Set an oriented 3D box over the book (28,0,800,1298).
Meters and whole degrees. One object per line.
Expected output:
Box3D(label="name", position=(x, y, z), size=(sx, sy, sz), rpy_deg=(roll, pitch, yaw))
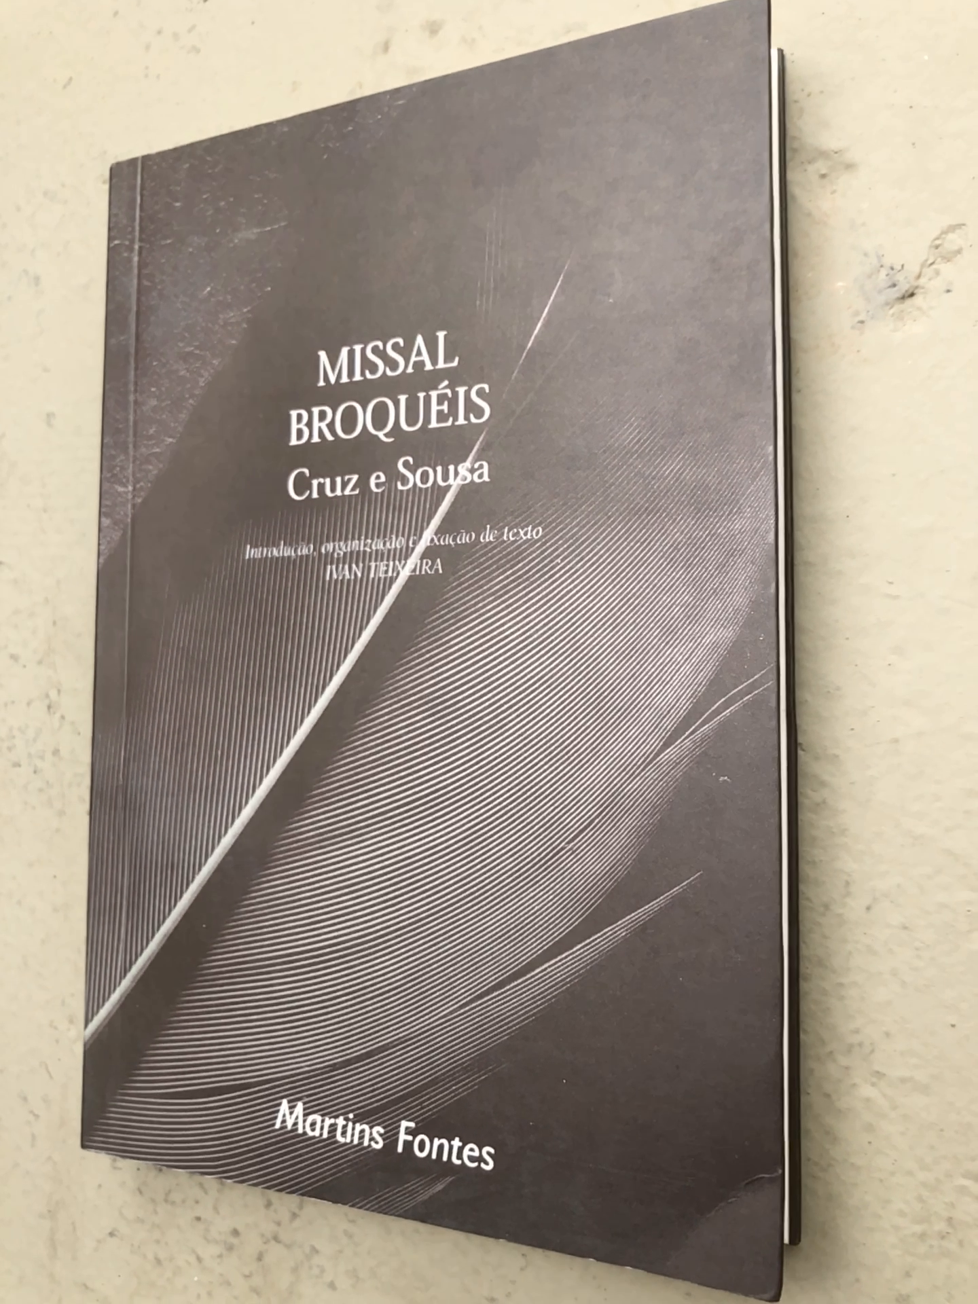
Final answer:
Box3D(label="book", position=(-0.018, -0.003, 0.179), size=(0.128, 0.016, 0.173), rpy_deg=(-1, 85, 24))
